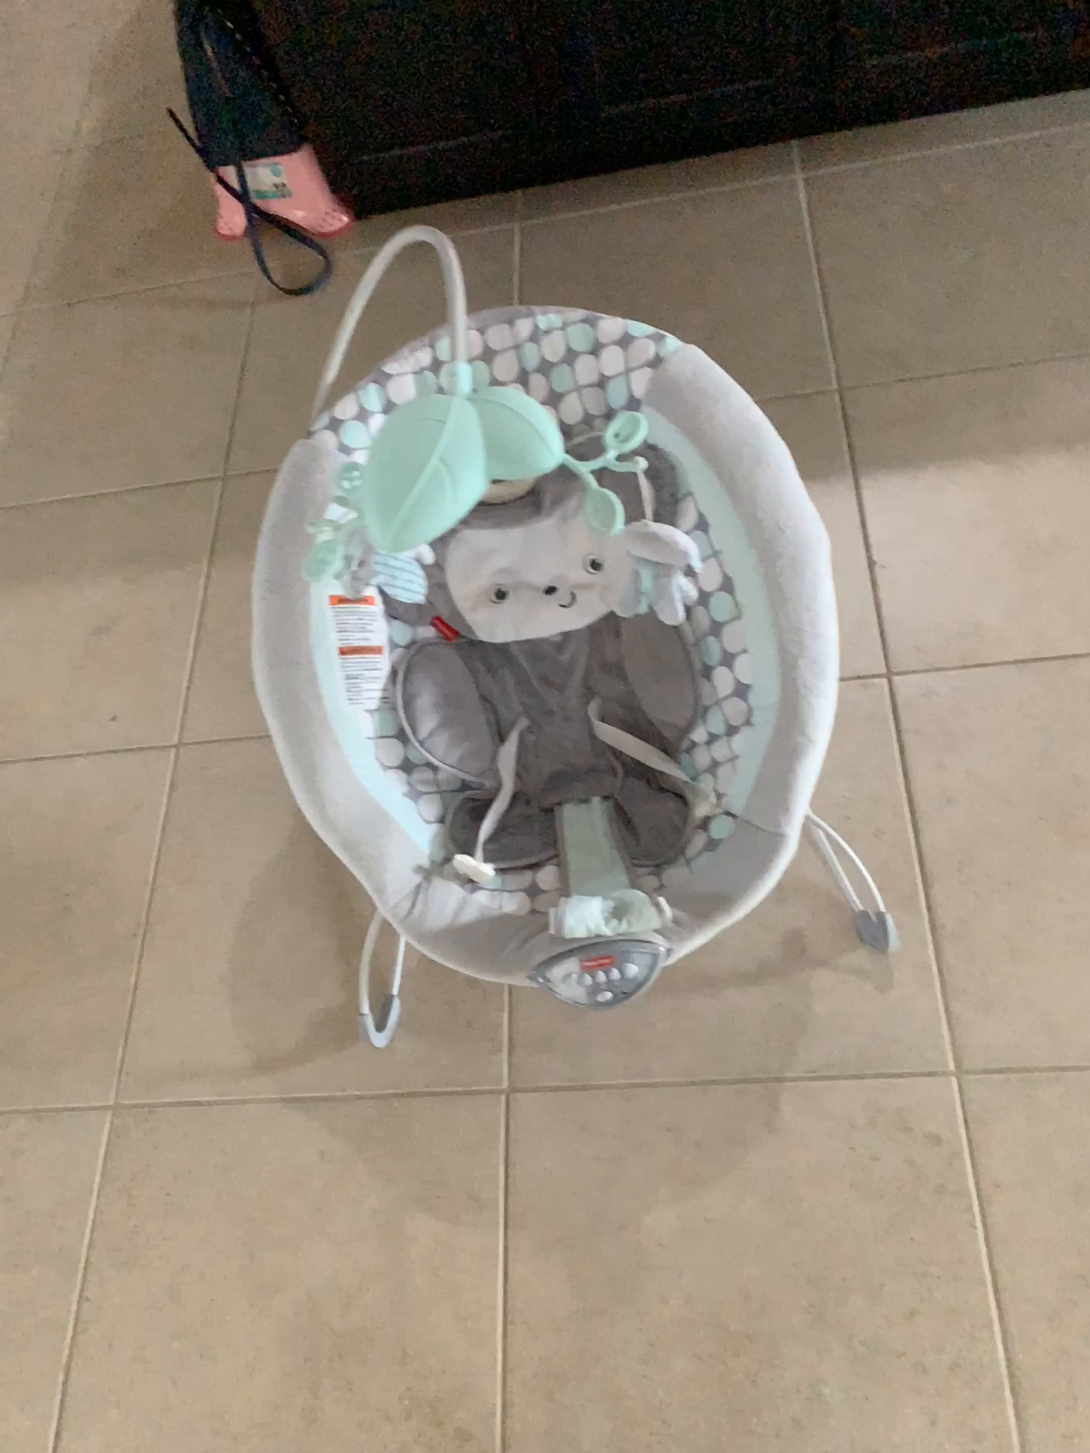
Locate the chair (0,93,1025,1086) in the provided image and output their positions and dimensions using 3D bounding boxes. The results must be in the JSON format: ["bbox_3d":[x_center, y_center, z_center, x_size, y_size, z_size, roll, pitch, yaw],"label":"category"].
[{"bbox_3d":[-0.004,-0.054,0.982,0.571,0.580,0.548,-10,60,7],"label":"chair"}]
